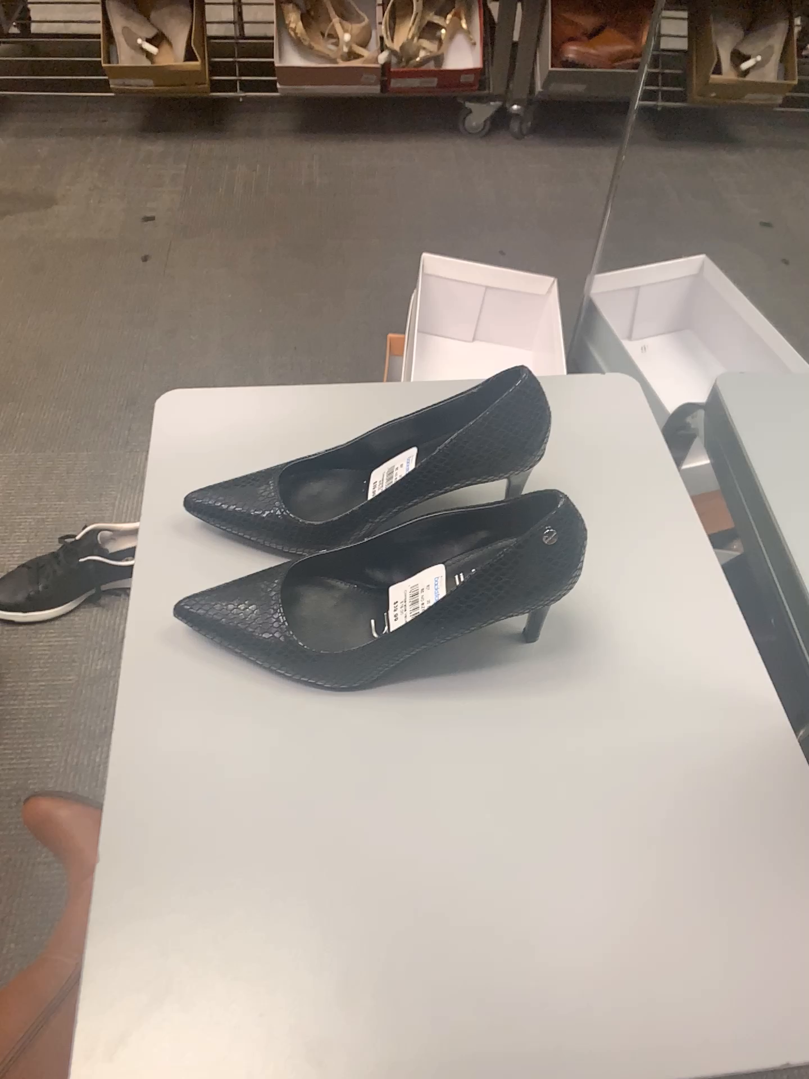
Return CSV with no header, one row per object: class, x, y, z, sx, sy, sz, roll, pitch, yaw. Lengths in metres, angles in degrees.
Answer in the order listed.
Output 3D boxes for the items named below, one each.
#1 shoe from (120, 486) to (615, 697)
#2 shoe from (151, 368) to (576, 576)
shoe,-0.020,0.030,0.479,0.253,0.084,0.080,-2,49,-4
shoe,-0.028,-0.046,0.546,0.253,0.085,0.080,-5,49,-8
